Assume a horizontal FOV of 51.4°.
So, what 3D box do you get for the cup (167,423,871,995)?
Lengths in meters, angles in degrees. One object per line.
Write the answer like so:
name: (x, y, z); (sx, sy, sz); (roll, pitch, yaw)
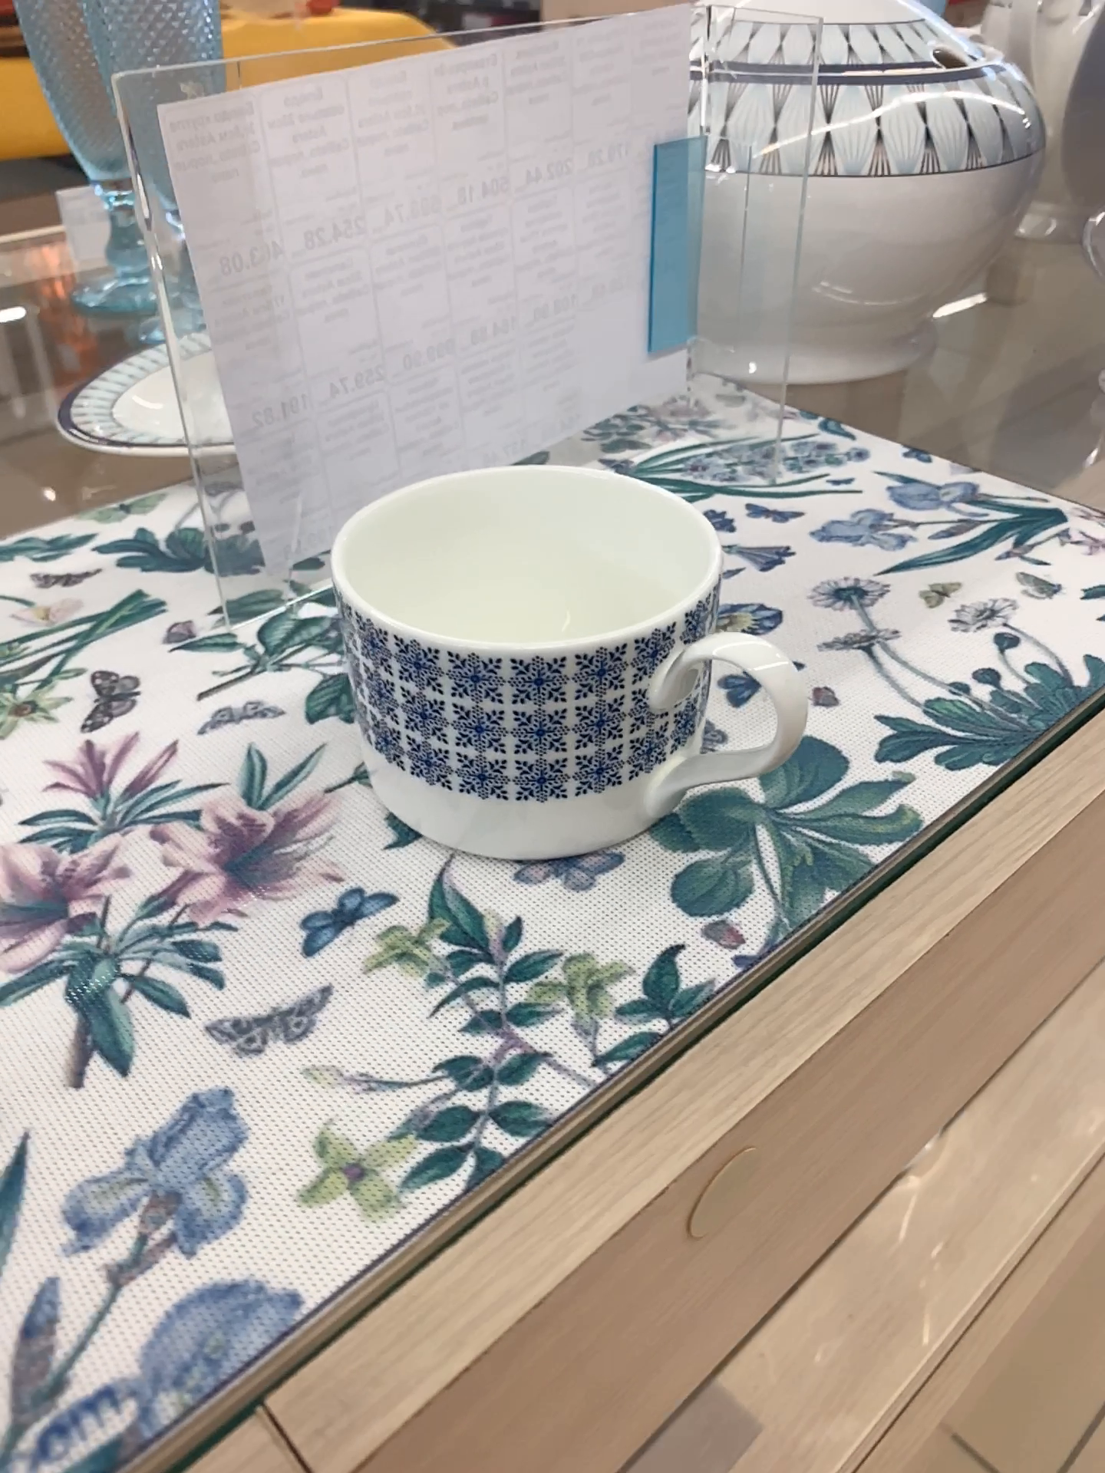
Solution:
cup: (-0.006, -0.016, 0.263); (0.120, 0.060, 0.090); (21, 42, 26)
